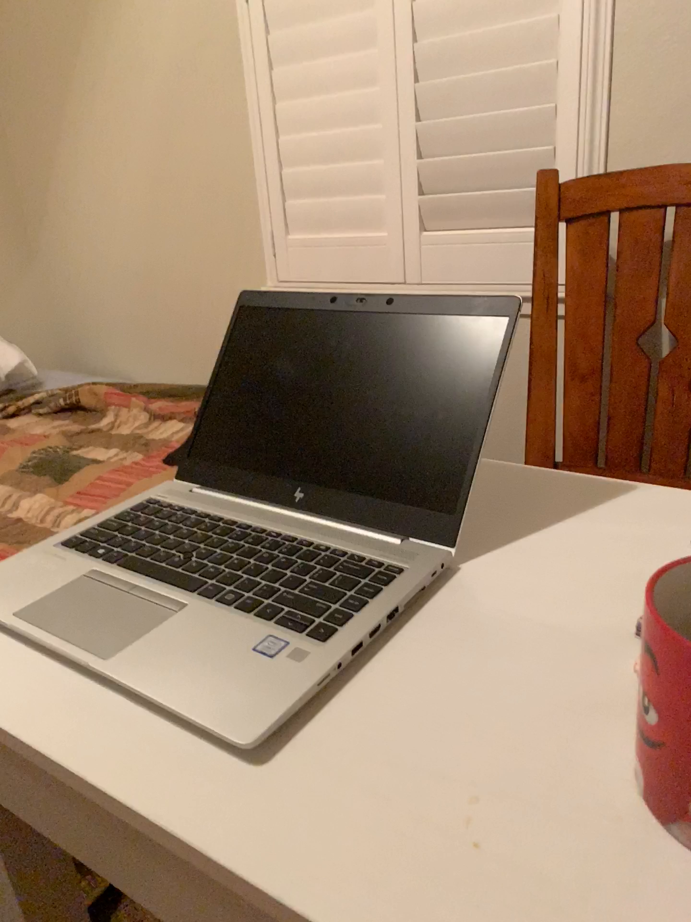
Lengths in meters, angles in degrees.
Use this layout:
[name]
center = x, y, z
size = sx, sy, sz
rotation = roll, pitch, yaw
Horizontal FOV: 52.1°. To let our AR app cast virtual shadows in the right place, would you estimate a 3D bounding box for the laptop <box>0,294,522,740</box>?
[laptop]
center = -0.081, -0.017, 0.558
size = 0.310, 0.159, 0.366
rotation = 10, 26, 34
